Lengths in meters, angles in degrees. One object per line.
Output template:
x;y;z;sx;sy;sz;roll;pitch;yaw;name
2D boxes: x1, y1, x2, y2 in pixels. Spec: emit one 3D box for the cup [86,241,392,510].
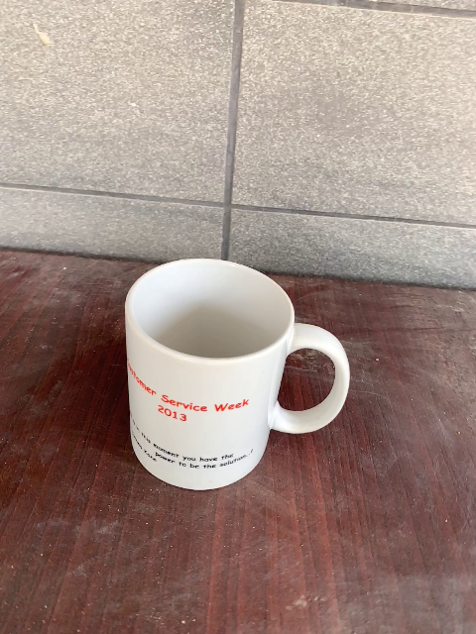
-0.002;0.030;0.259;0.120;0.100;0.090;3;38;-2;cup
